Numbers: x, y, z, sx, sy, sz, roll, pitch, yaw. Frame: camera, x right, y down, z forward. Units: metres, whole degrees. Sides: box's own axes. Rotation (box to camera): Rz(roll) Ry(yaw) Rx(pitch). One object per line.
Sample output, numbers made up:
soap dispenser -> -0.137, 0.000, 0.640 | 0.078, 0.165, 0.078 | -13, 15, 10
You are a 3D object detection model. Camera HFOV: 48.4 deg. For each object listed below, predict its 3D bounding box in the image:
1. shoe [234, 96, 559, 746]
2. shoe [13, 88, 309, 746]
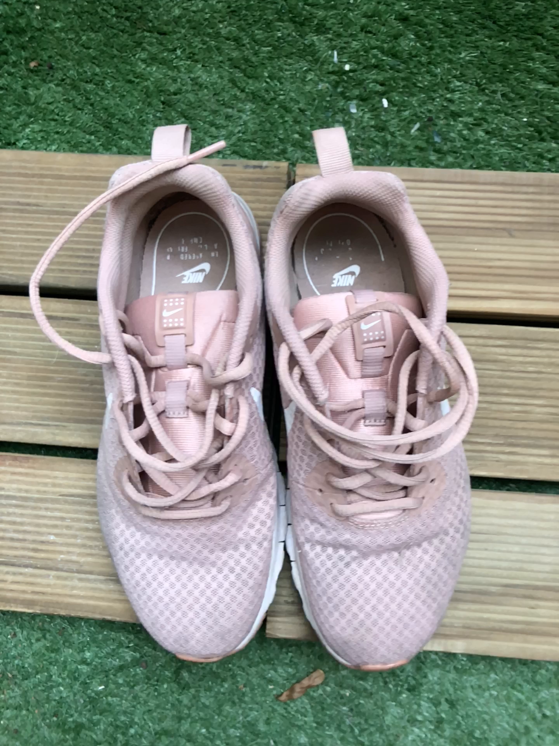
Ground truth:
shoe -> 0.049, 0.022, 0.295 | 0.110, 0.090, 0.260 | -5, 82, 4
shoe -> -0.050, 0.017, 0.295 | 0.110, 0.090, 0.260 | -3, 83, 4
